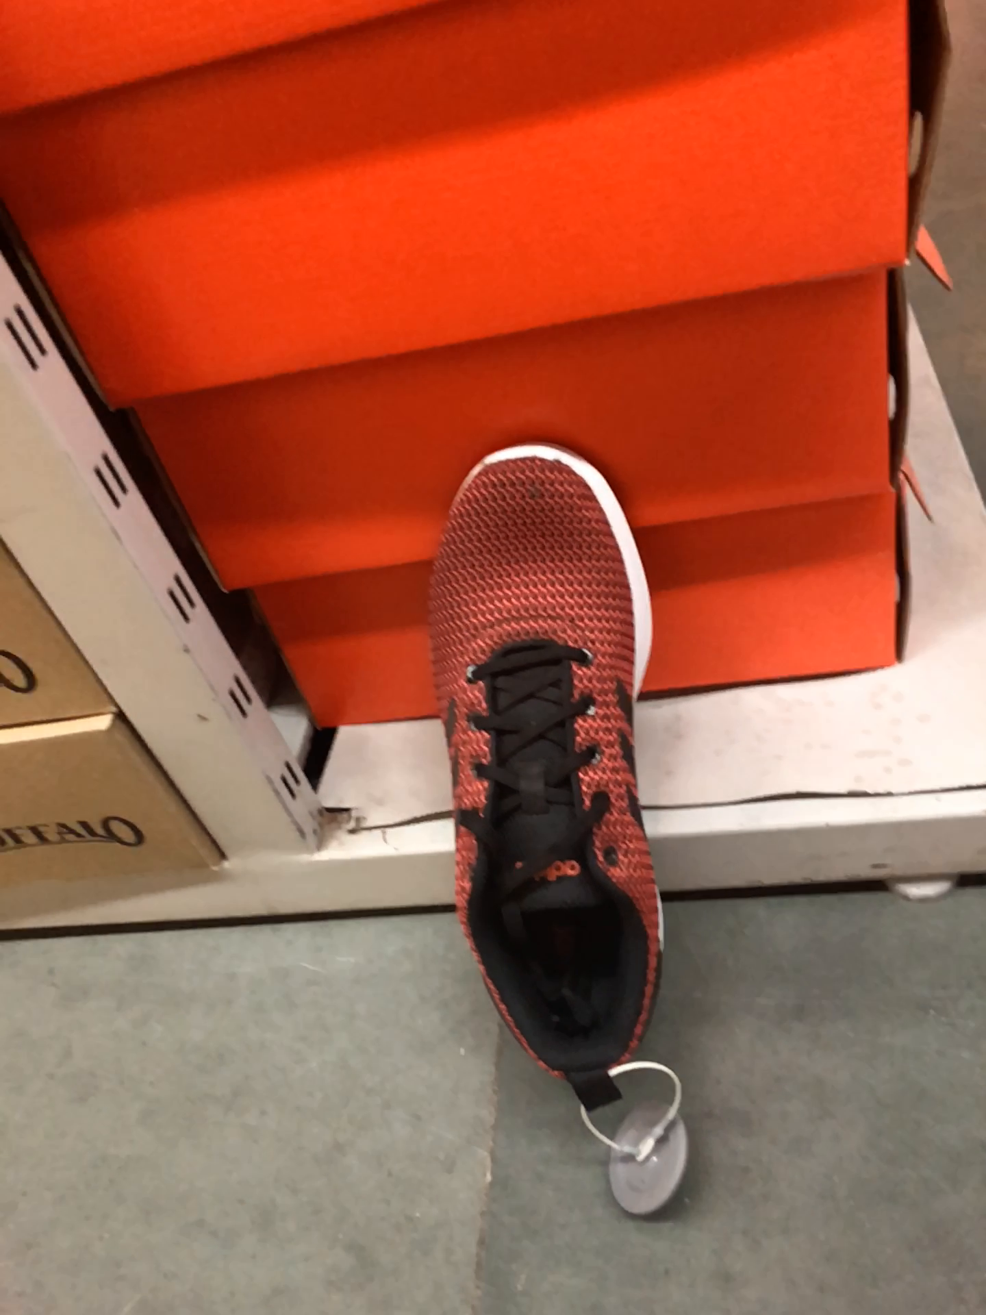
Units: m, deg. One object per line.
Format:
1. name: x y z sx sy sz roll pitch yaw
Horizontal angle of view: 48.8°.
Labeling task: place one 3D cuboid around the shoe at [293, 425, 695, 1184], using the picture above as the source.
1. shoe: 0.014 0.050 0.451 0.110 0.271 0.133 -5 8 13
